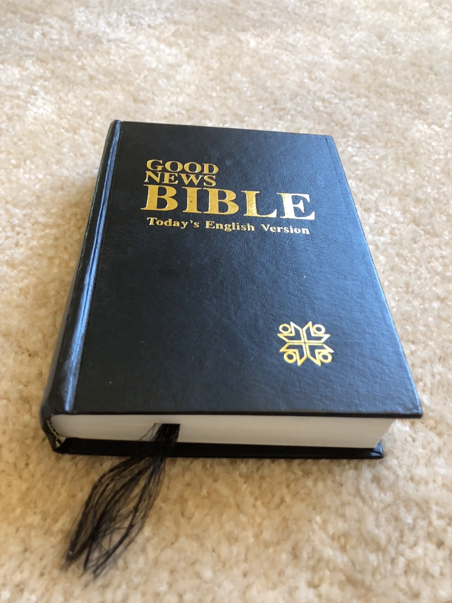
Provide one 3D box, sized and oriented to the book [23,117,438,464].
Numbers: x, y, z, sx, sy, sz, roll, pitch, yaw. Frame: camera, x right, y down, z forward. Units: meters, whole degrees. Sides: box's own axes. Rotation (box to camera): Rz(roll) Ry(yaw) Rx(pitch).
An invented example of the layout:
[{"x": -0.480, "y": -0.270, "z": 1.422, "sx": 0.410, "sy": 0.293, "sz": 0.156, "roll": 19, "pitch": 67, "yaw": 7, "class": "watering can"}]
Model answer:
[{"x": 0.000, "y": -0.016, "z": 0.218, "sx": 0.124, "sy": 0.040, "sz": 0.161, "roll": 2, "pitch": 48, "yaw": -5, "class": "book"}]
